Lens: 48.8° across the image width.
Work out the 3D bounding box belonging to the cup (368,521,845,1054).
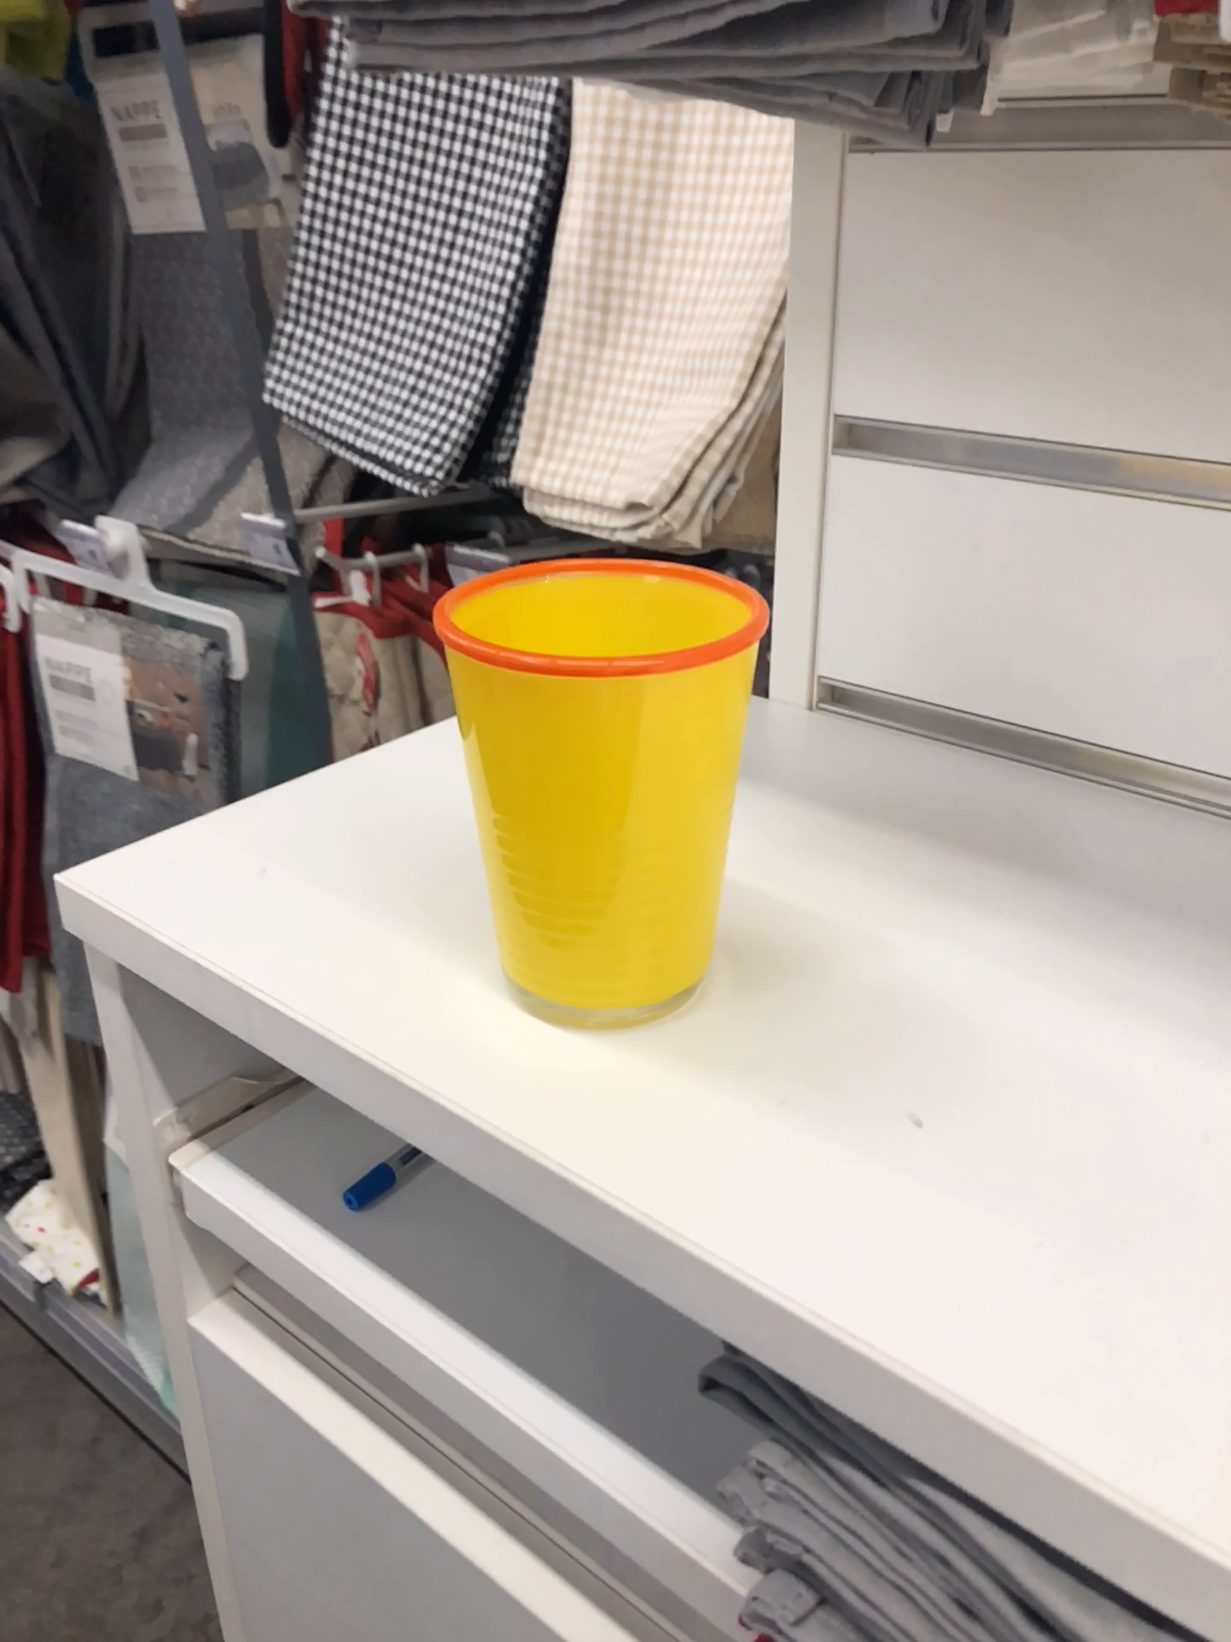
[{"bbox_3d":[0.002,-0.014,0.337,0.084,0.094,0.089,0,26,0],"label":"cup"}]
